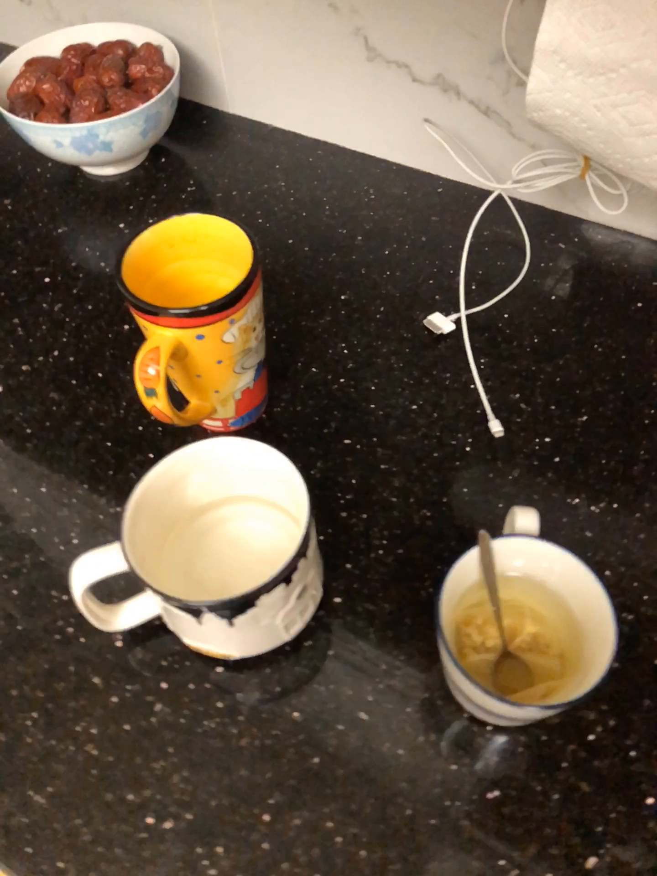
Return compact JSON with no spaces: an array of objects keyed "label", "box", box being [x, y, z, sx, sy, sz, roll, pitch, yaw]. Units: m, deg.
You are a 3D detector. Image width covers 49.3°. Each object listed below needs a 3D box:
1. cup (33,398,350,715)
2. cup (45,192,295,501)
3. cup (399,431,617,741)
[{"label":"cup","box":[-0.075,0.069,0.420,0.140,0.090,0.110,-22,57,-11]},{"label":"cup","box":[-0.090,-0.058,0.470,0.090,0.130,0.140,10,57,10]},{"label":"cup","box":[0.087,0.078,0.381,0.090,0.090,0.130,3,56,6]}]
